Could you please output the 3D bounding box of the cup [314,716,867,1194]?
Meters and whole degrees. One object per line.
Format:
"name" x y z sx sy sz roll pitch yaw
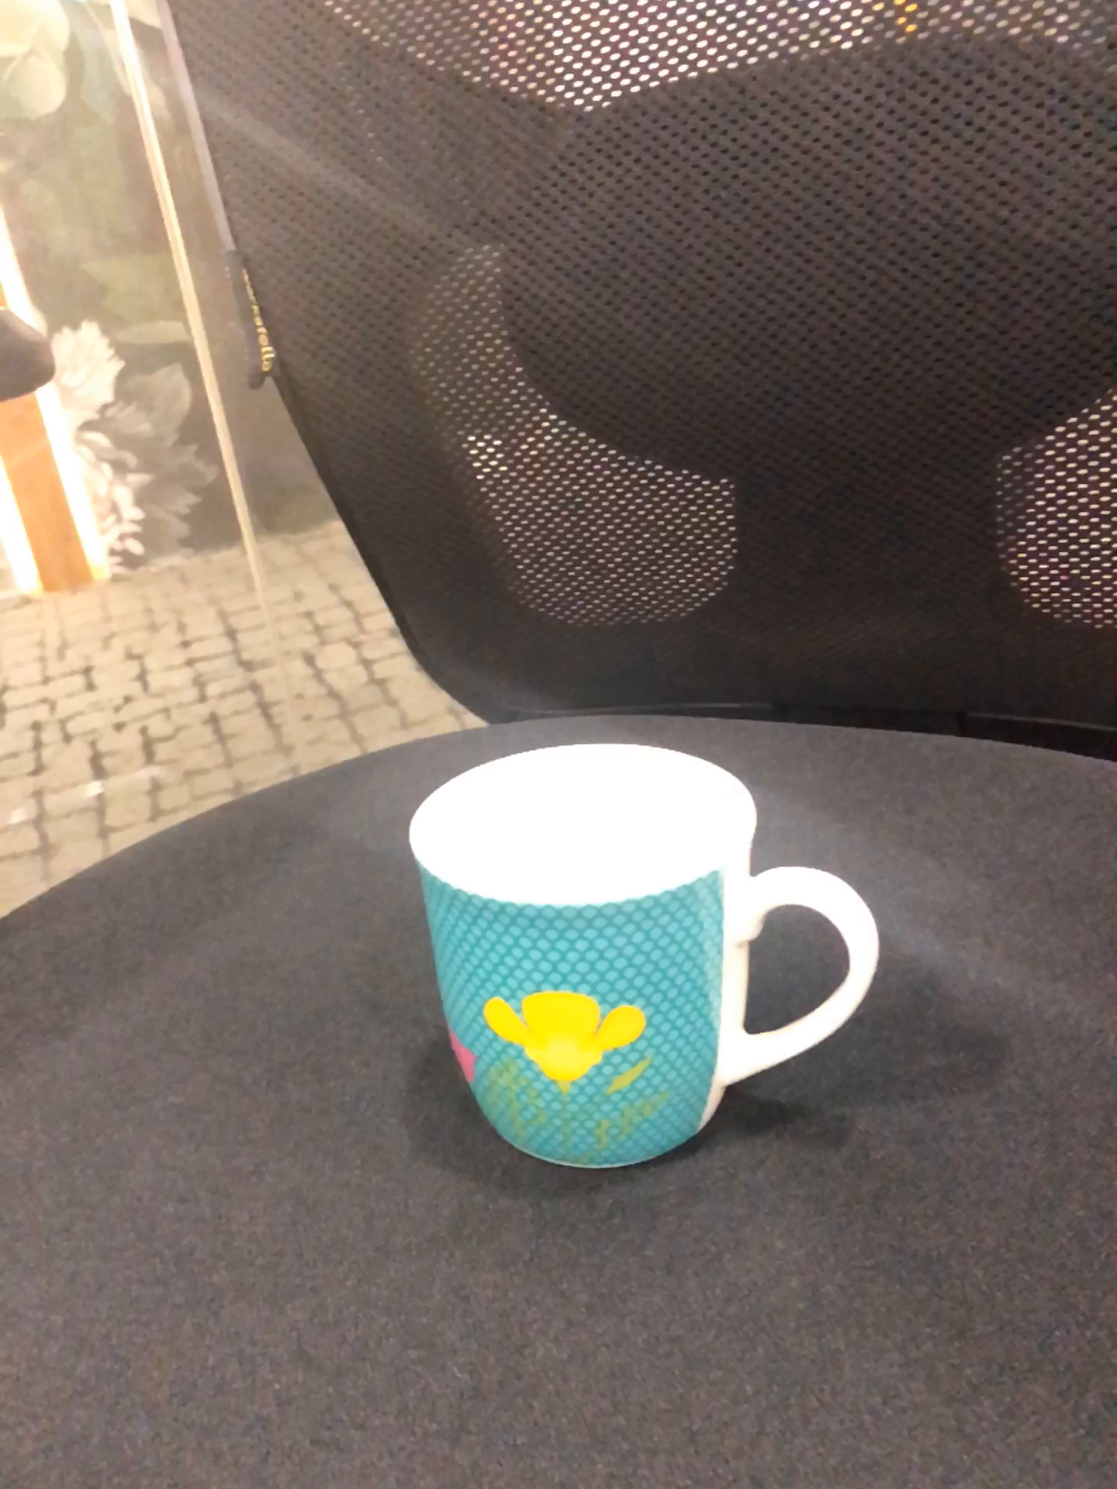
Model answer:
"cup" 0.014 0.046 0.291 0.110 0.080 0.070 -1 28 12
